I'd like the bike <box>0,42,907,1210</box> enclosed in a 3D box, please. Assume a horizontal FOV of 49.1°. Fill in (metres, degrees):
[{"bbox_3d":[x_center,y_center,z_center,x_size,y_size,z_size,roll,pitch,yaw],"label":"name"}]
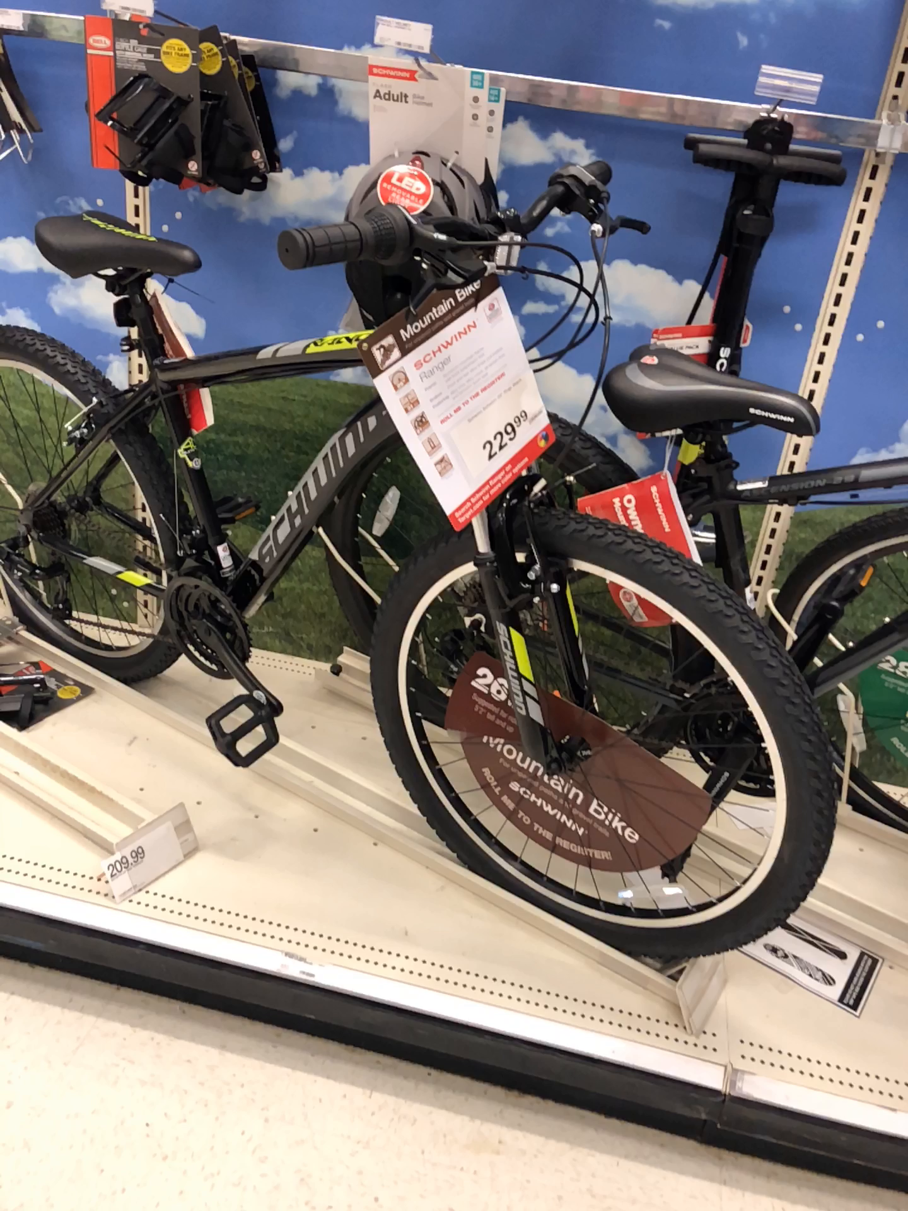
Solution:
[{"bbox_3d":[-0.305,-0.062,1.369,1.654,1.002,0.601,24,30,27],"label":"bike"}]
